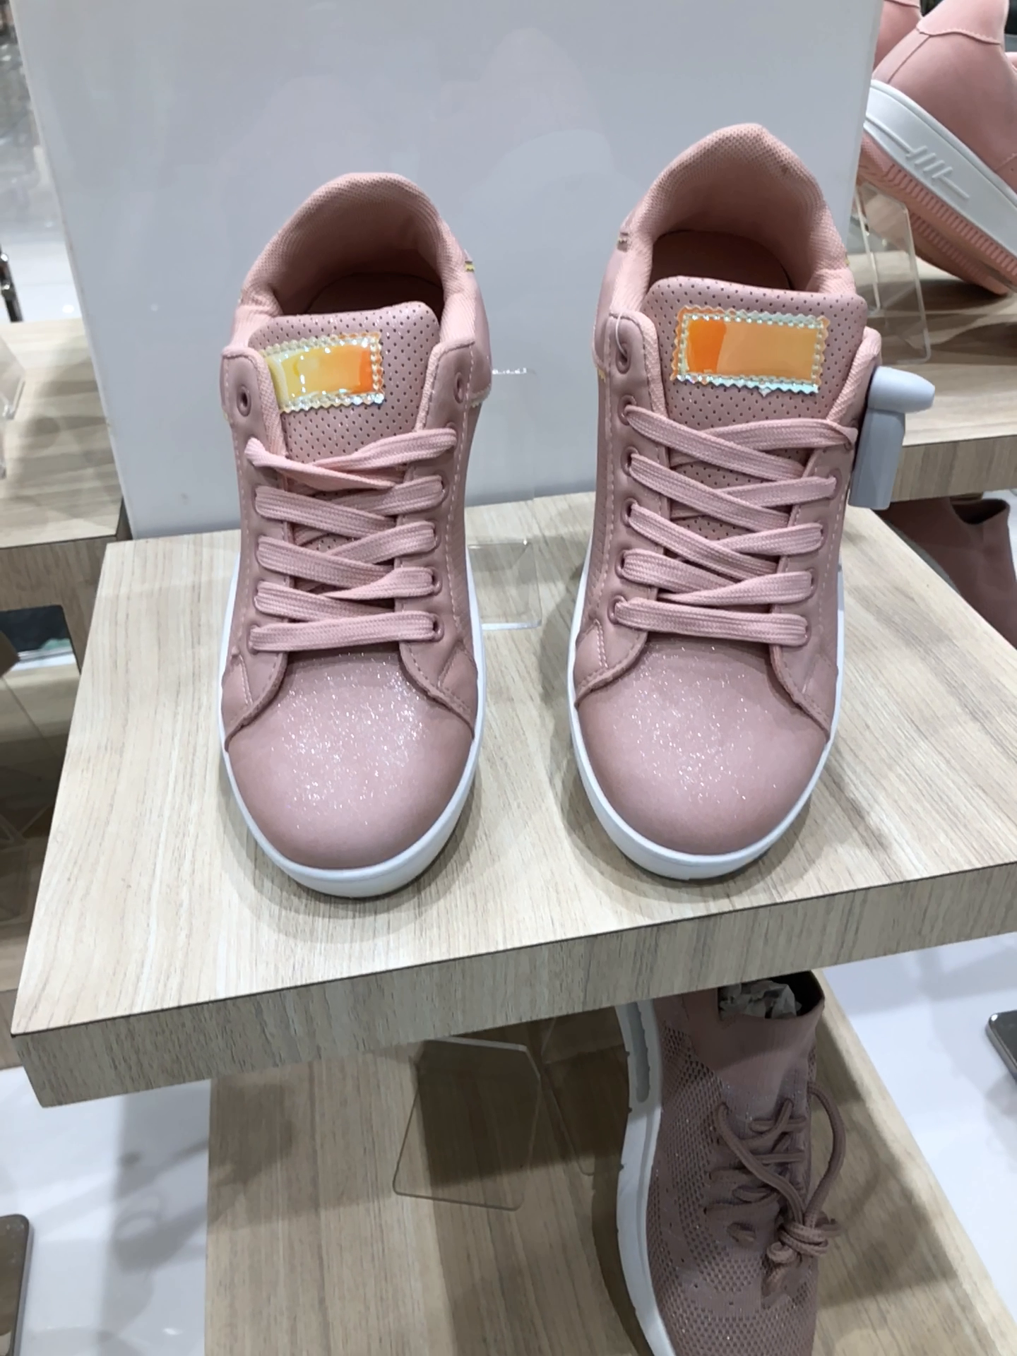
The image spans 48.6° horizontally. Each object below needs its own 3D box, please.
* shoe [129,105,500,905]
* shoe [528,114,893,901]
[{"bbox_3d":[-0.057,-0.056,0.399,0.100,0.100,0.261,-1,75,2],"label":"shoe"},{"bbox_3d":[0.071,-0.055,0.402,0.100,0.251,0.100,3,-8,7],"label":"shoe"}]
